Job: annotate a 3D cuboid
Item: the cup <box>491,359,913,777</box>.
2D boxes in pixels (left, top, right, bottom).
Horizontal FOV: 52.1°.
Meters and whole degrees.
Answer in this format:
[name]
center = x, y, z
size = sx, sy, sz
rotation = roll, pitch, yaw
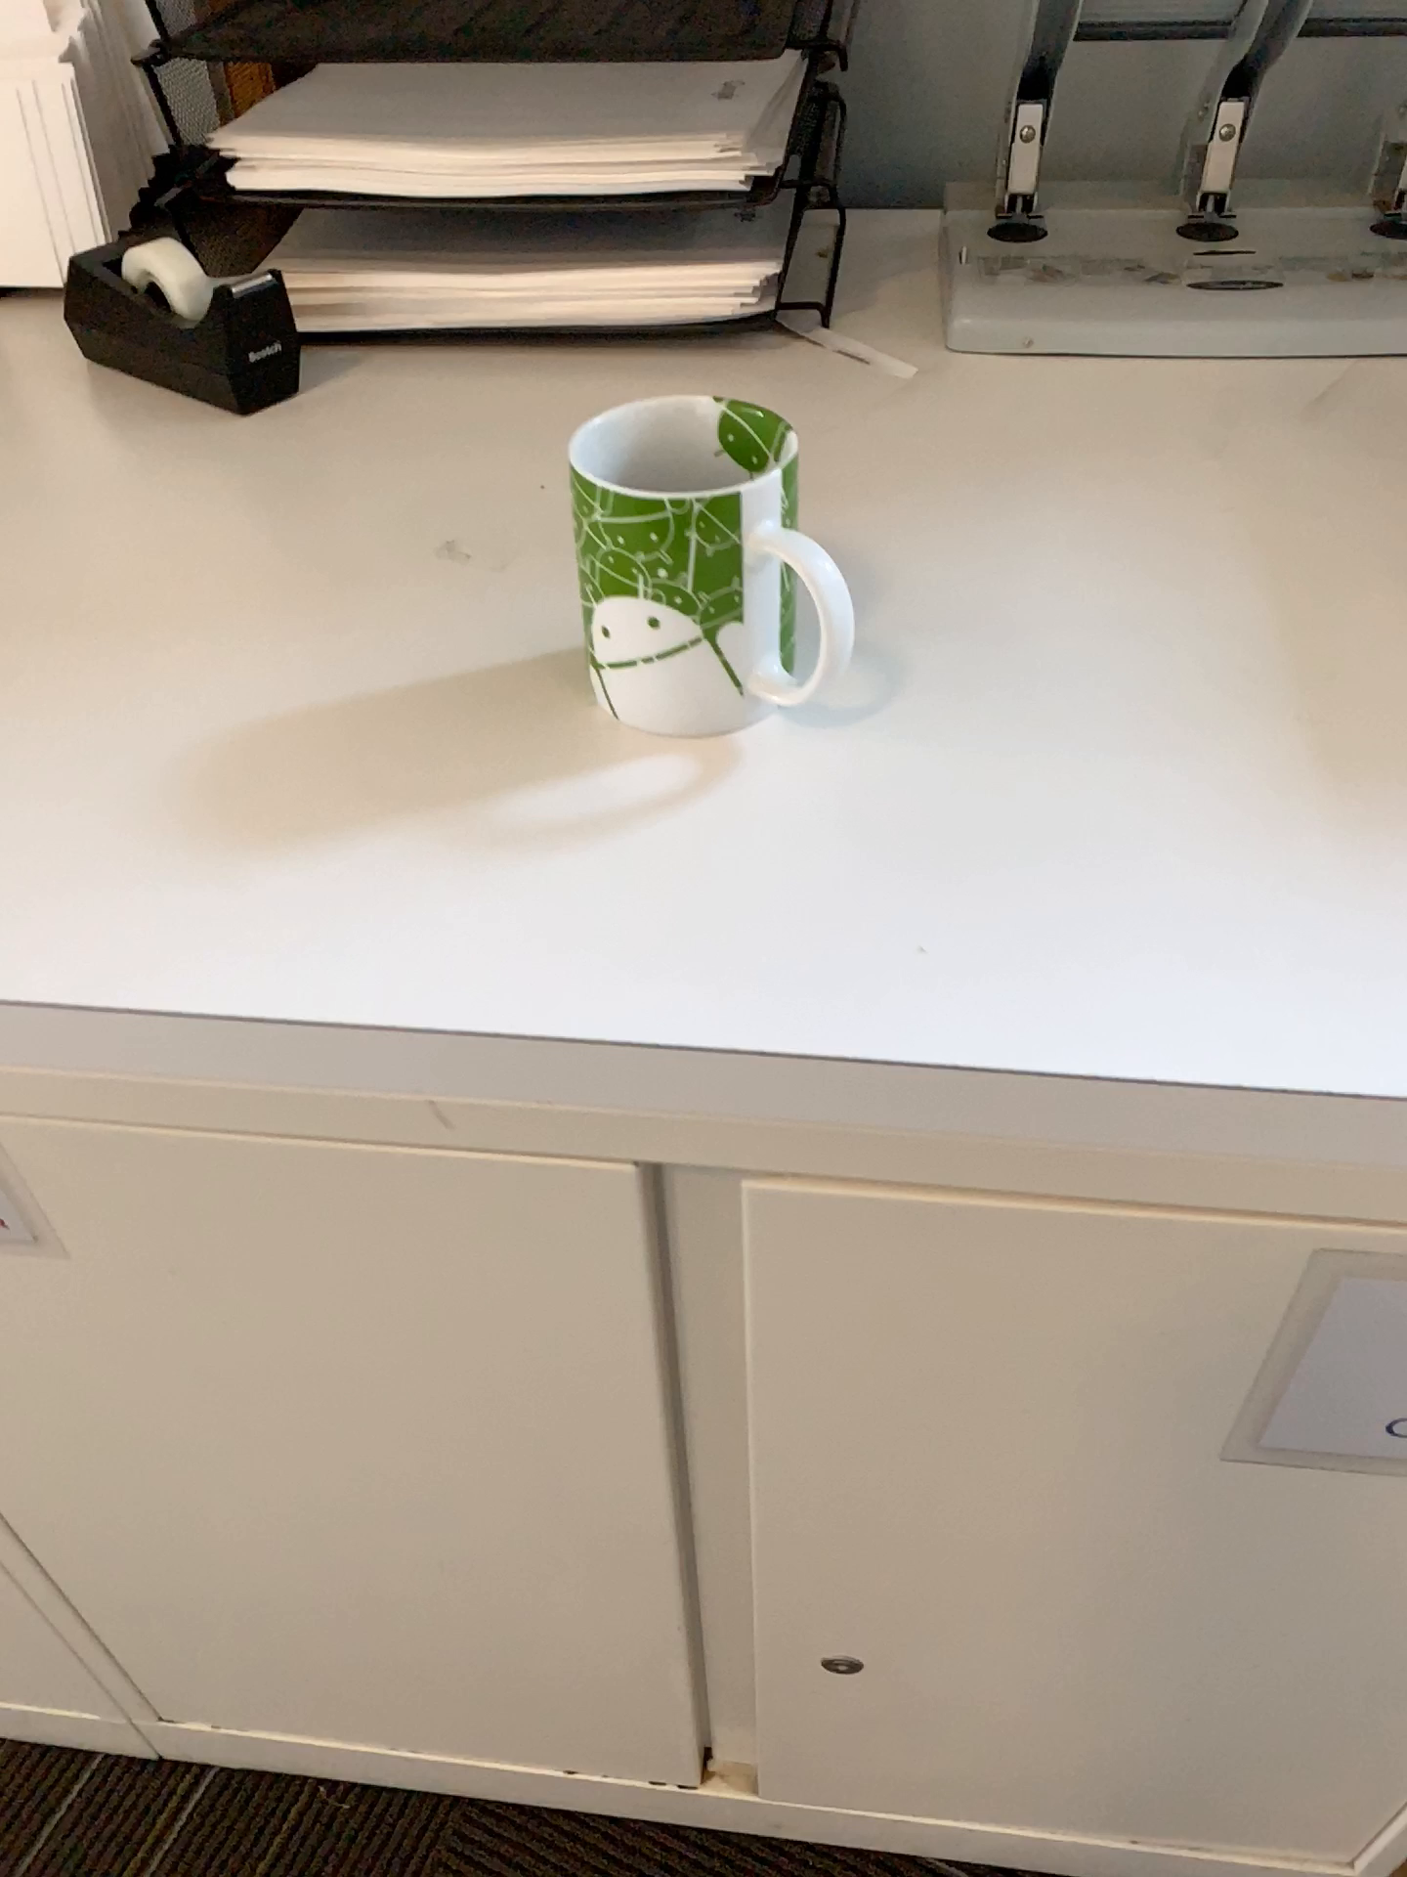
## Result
[cup]
center = 0.001, -0.129, 0.494
size = 0.110, 0.090, 0.080
rotation = 23, 49, 25
